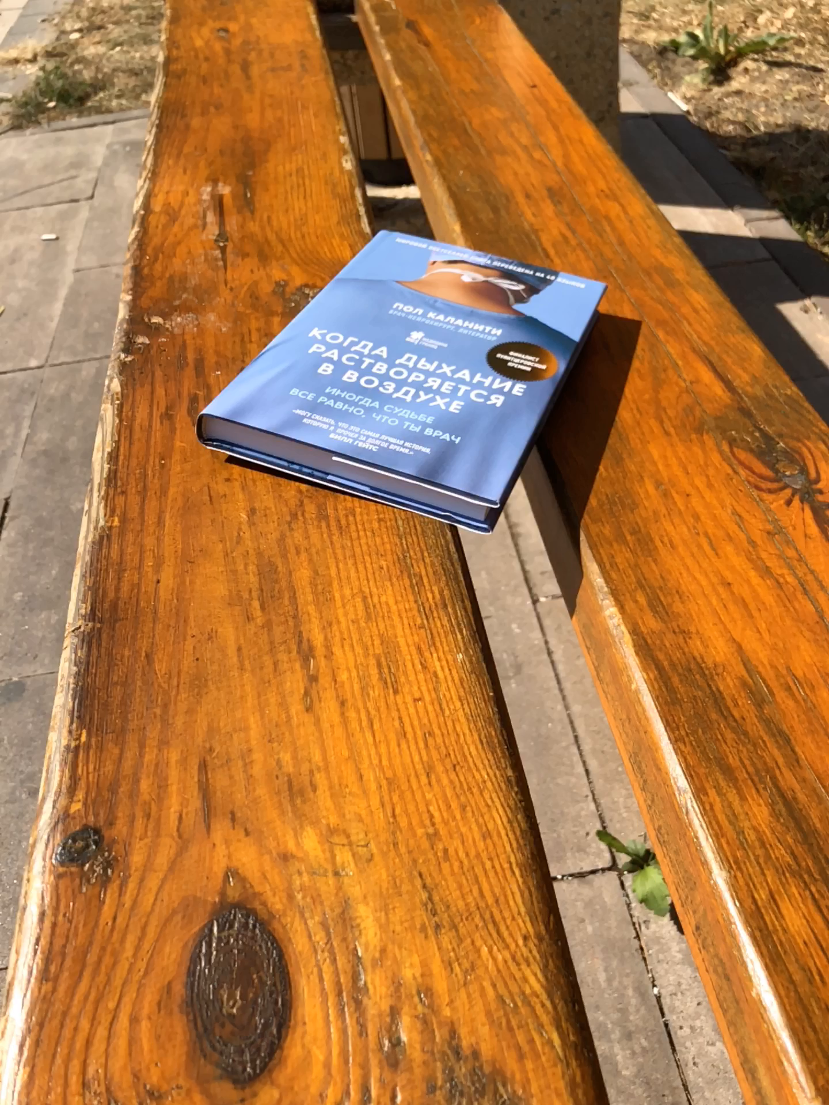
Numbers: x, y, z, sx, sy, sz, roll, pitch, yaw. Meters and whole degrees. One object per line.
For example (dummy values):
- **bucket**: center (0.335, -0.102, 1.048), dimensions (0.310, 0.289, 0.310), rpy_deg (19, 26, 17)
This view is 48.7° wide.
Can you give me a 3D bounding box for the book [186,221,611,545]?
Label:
- **book**: center (0.004, -0.100, 0.461), dimensions (0.140, 0.025, 0.211), rpy_deg (18, 45, 13)
